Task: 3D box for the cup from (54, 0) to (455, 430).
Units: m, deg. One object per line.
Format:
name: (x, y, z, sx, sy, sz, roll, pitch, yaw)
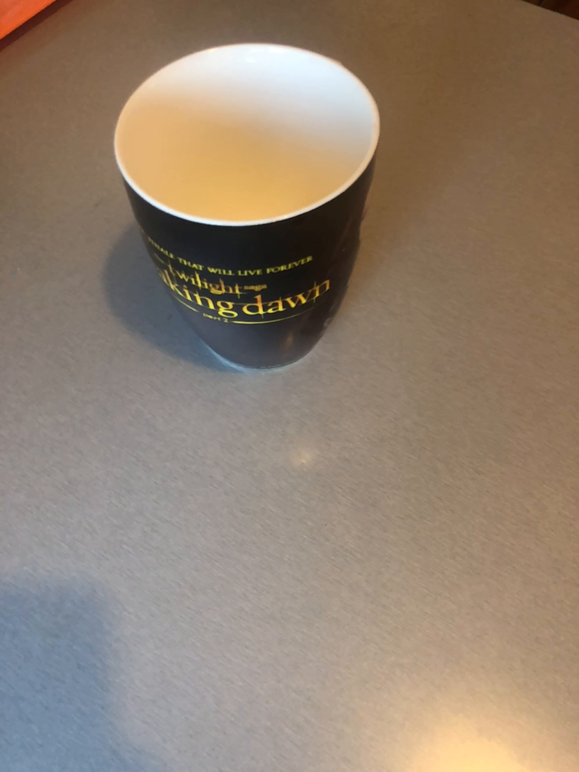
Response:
cup: (-0.004, -0.073, 0.260, 0.090, 0.100, 0.130, 19, 64, 12)
